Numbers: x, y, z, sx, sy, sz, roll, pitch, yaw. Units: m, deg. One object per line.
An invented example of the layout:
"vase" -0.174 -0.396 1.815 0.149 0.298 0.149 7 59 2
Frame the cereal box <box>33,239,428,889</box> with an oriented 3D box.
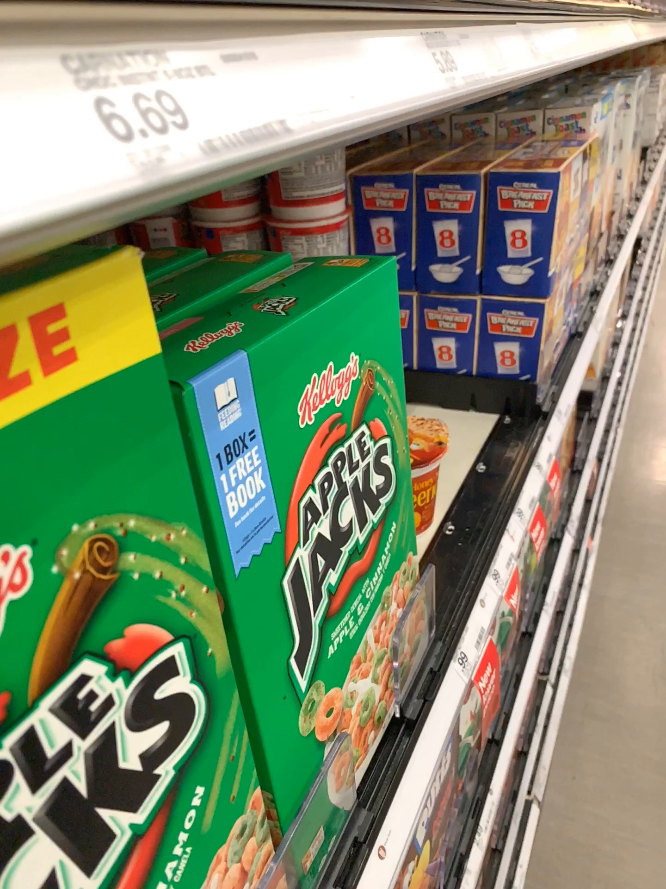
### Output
"cereal box" -0.019 0.059 0.375 0.060 0.289 0.201 5 29 25
